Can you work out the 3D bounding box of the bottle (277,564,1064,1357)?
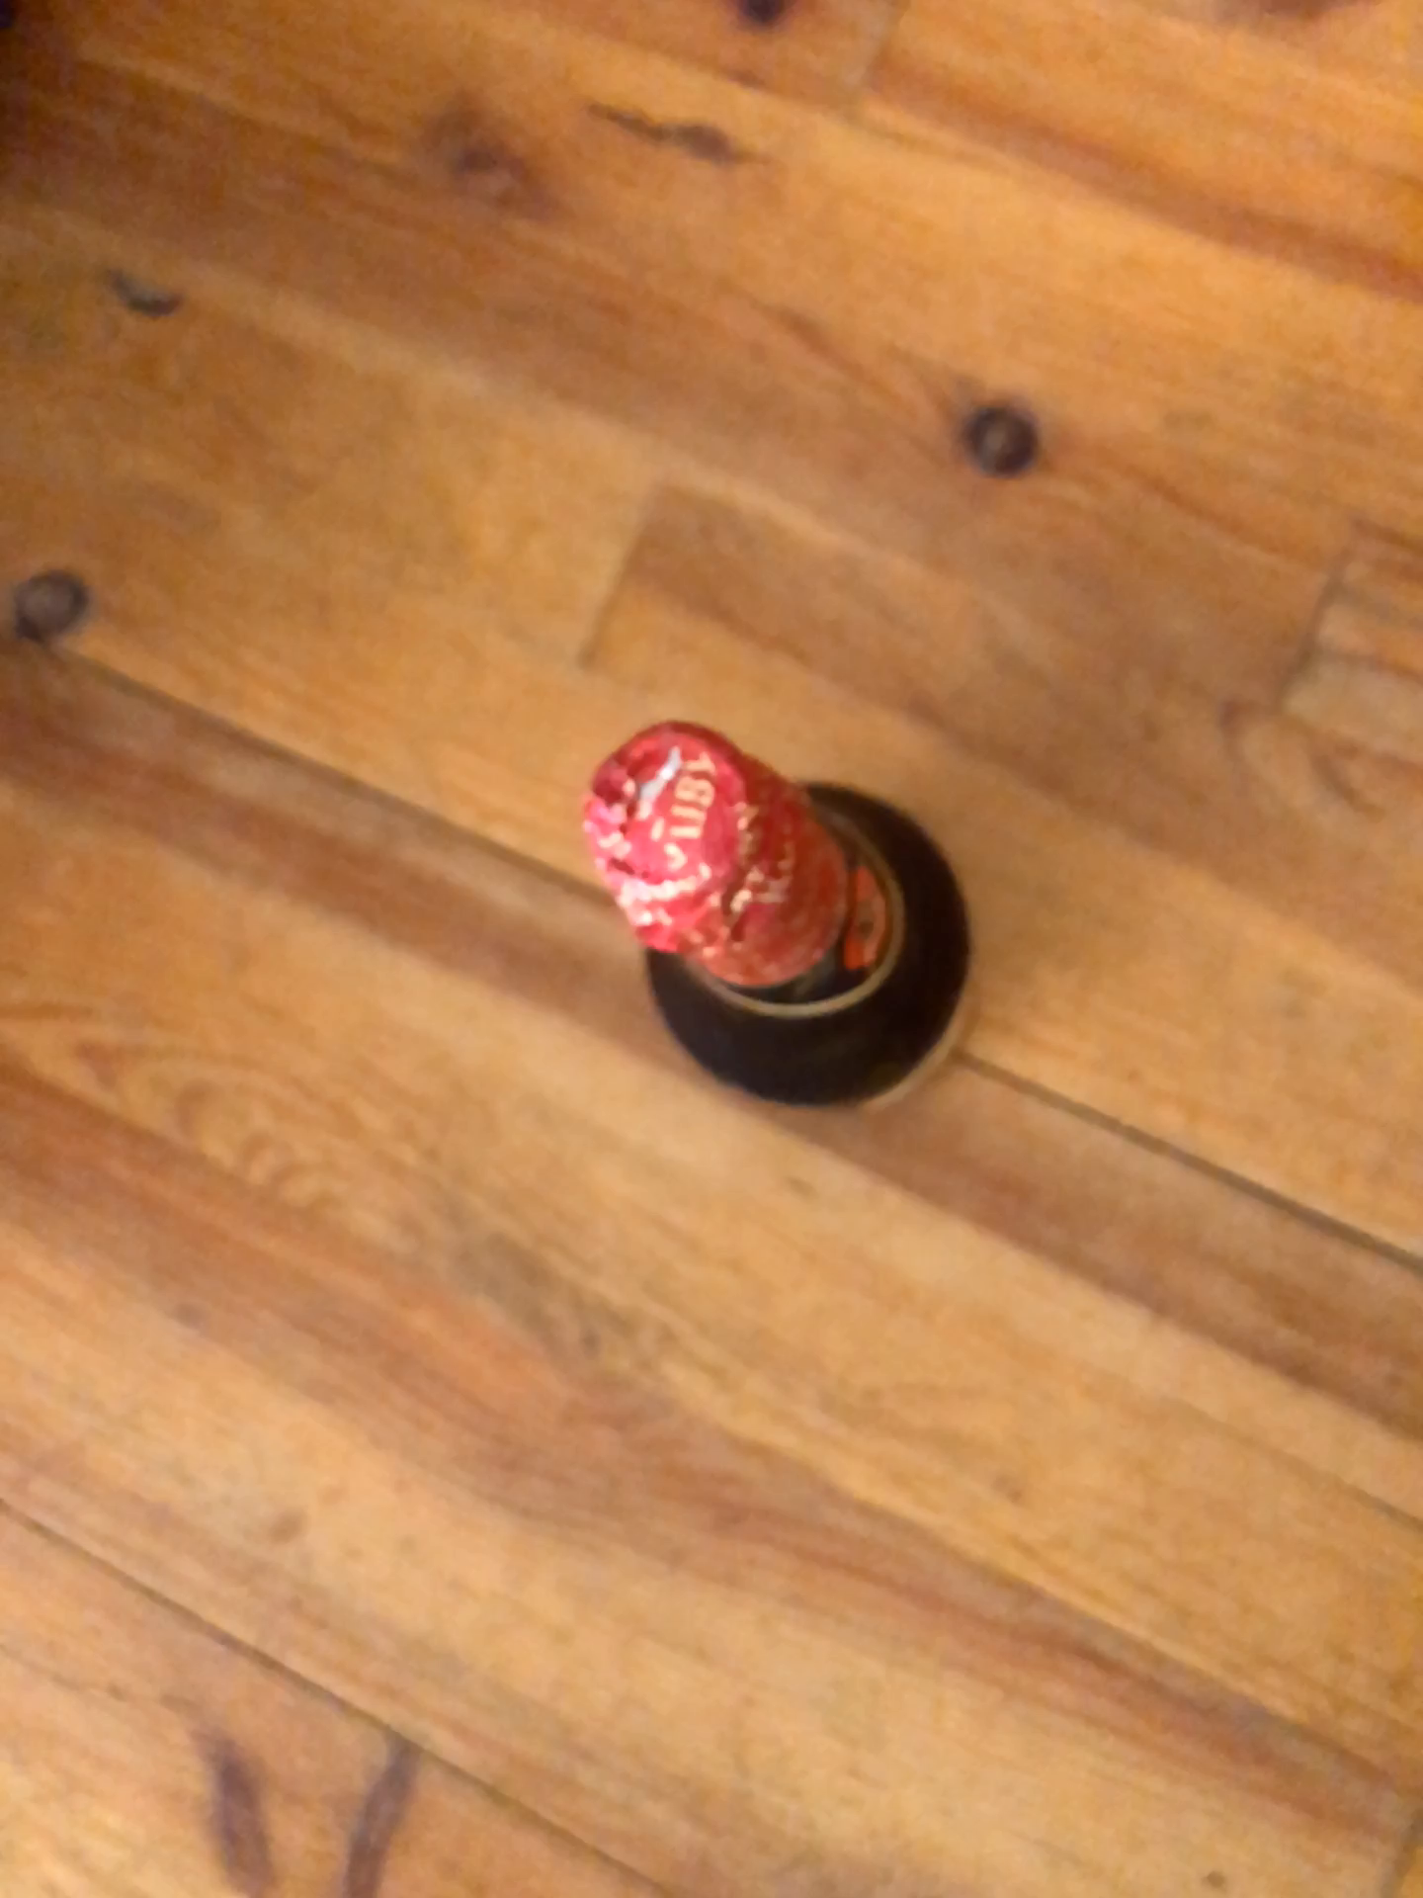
[{"bbox_3d":[0.018,0.013,0.371,0.090,0.290,0.090,-1,84,10],"label":"bottle"}]
